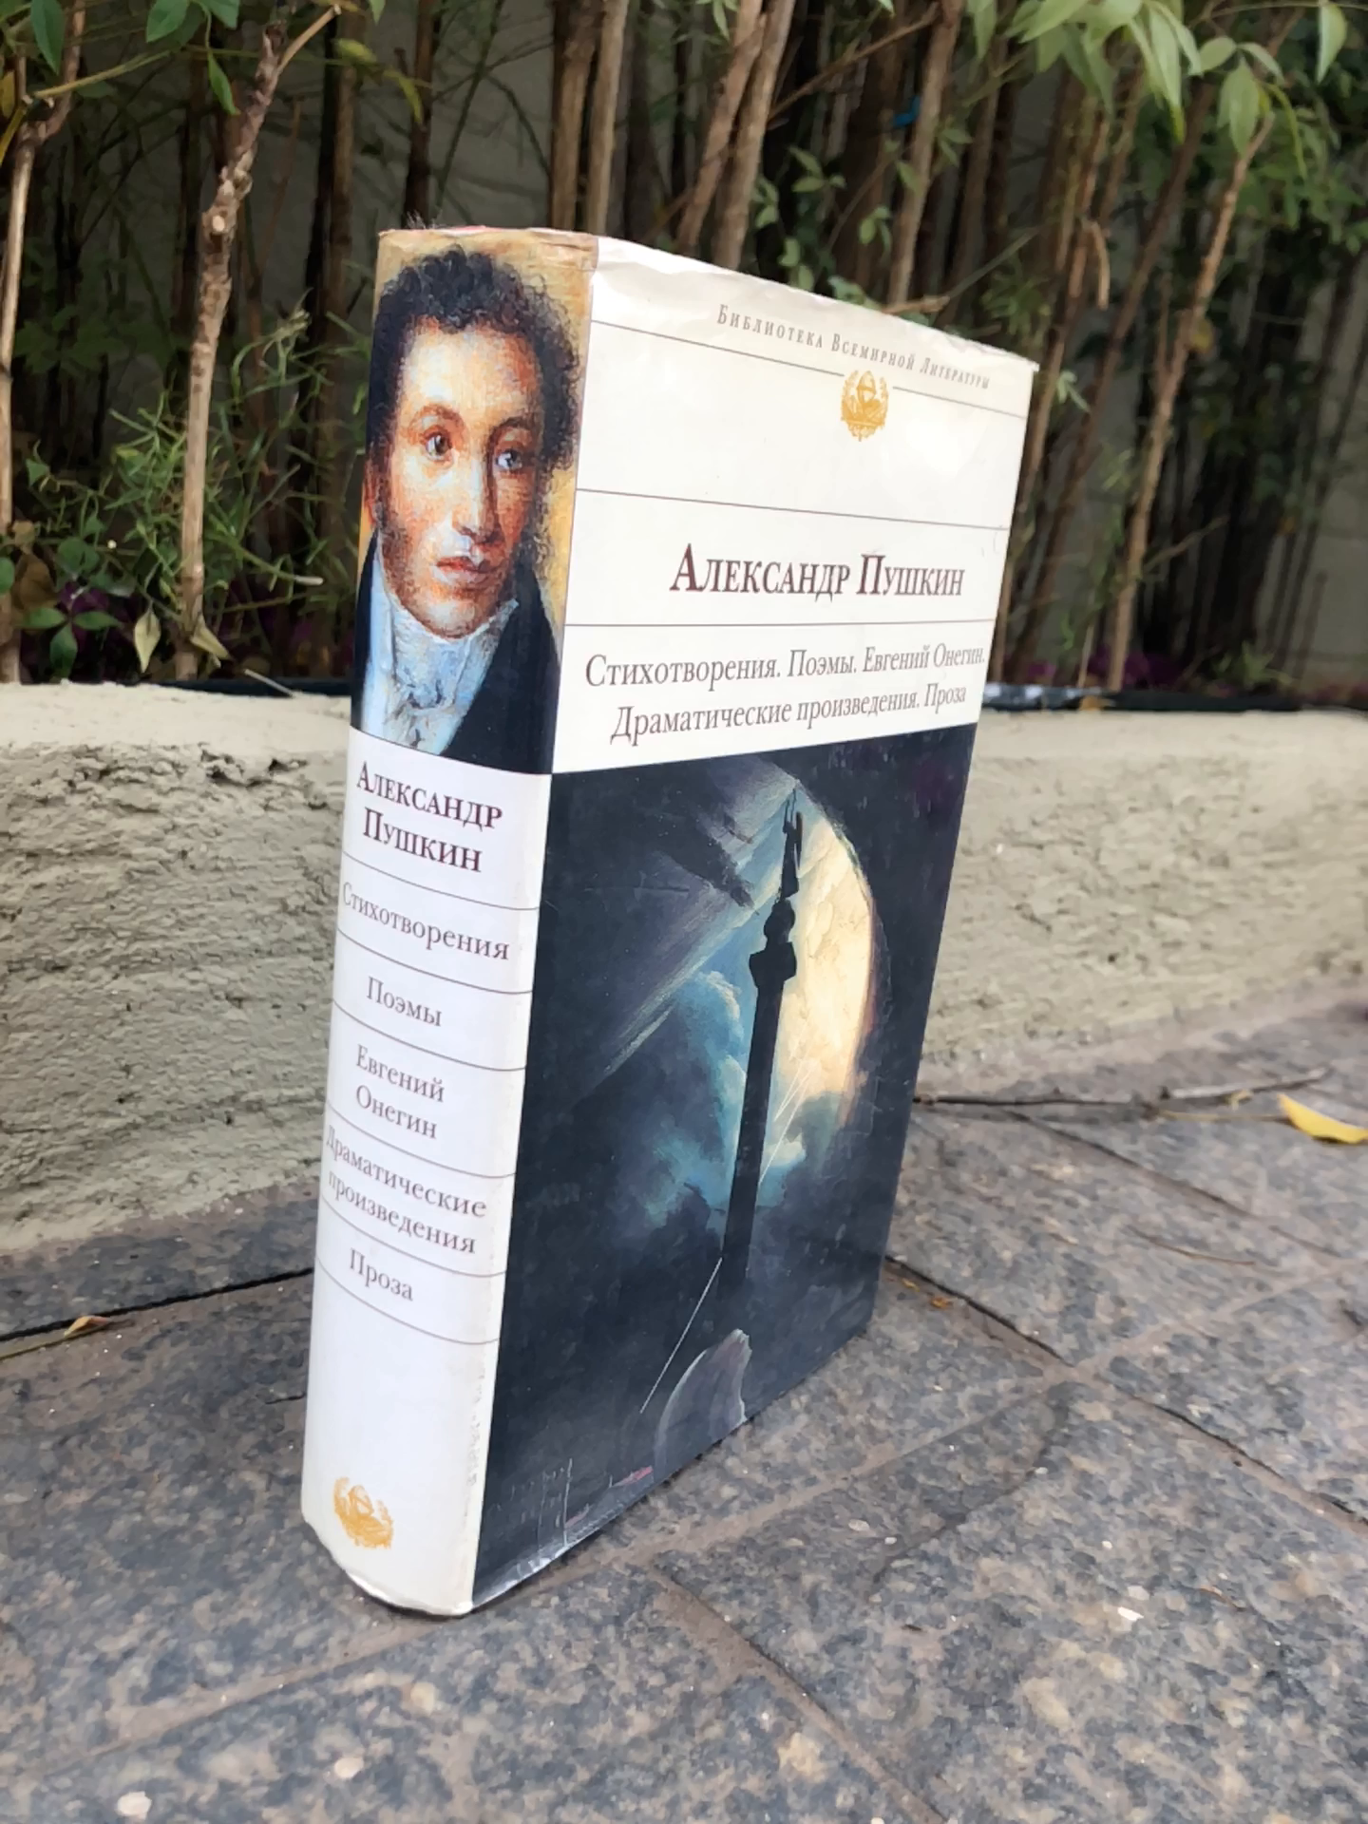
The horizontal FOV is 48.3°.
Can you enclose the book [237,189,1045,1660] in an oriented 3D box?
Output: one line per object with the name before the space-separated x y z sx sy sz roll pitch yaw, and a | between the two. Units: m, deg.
book | -0.001 -0.003 0.280 0.050 0.204 0.151 14 15 32
